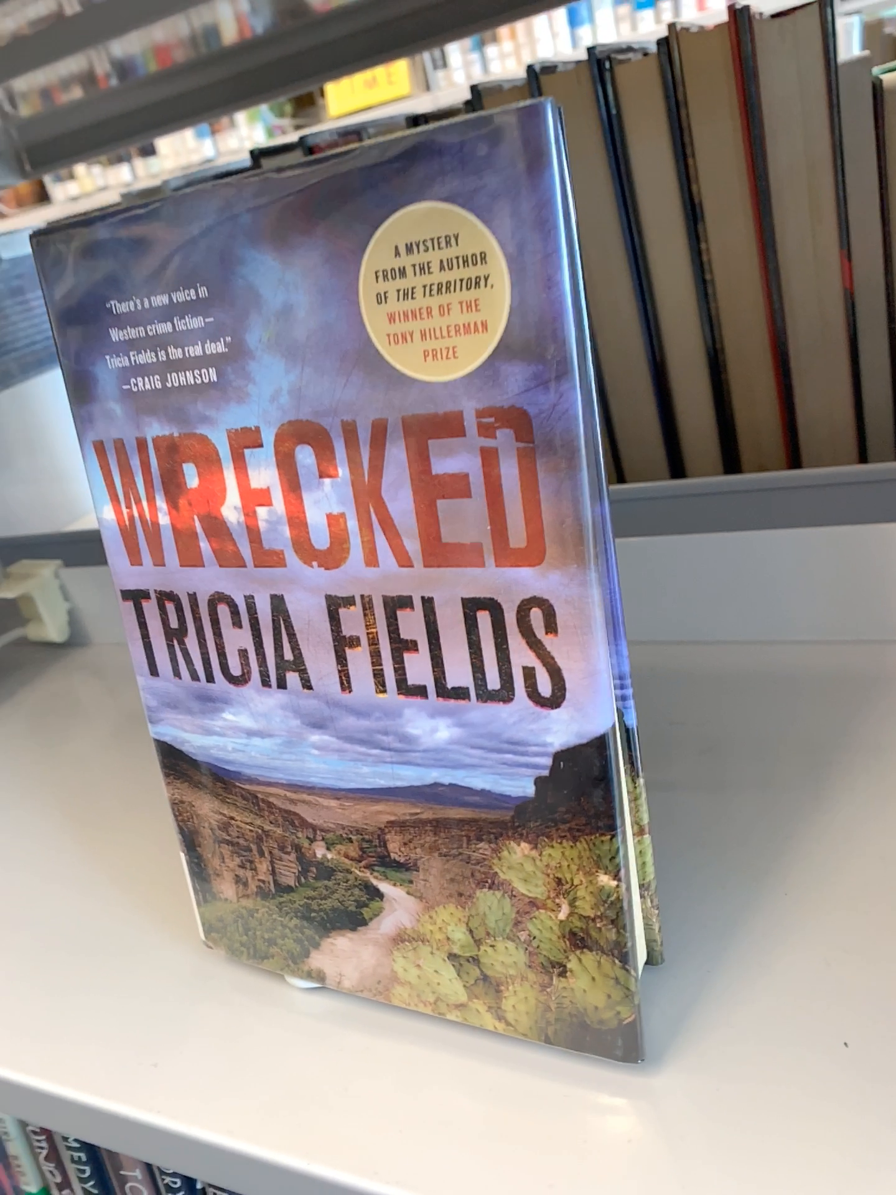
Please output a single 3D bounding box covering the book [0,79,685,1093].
[{"bbox_3d":[-0.027,0.007,0.239,0.150,0.213,0.034,0,18,30],"label":"book"}]
